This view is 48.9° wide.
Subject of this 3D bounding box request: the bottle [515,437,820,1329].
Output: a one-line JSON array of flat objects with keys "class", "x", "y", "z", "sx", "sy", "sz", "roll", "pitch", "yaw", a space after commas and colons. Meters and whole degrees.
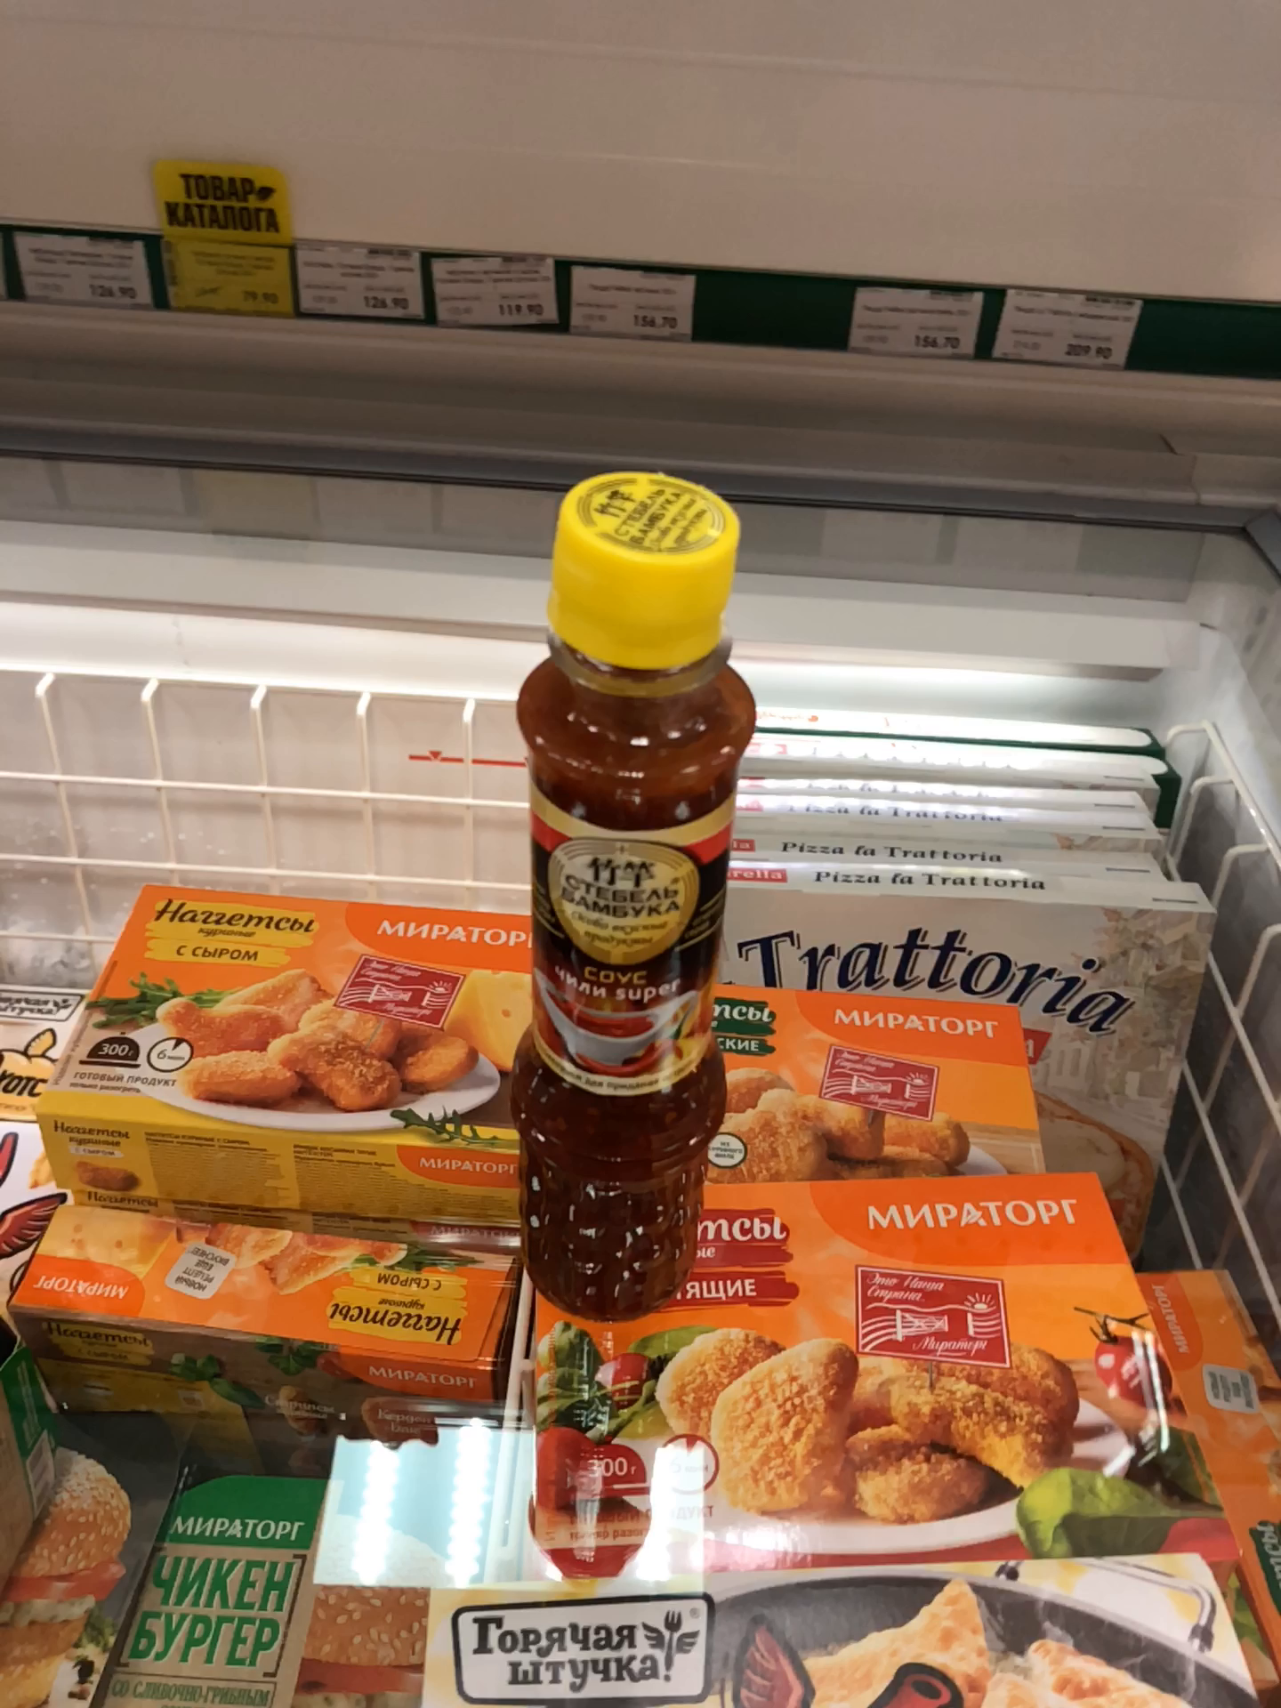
[{"class": "bottle", "x": -0.003, "y": 0.022, "z": 0.305, "sx": 0.048, "sy": 0.212, "sz": 0.047, "roll": 2, "pitch": 40, "yaw": -2}]
